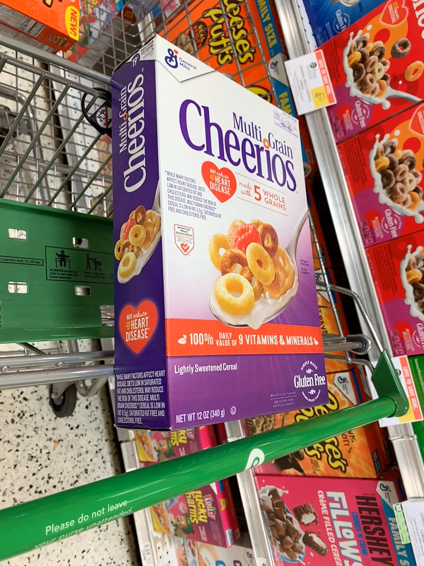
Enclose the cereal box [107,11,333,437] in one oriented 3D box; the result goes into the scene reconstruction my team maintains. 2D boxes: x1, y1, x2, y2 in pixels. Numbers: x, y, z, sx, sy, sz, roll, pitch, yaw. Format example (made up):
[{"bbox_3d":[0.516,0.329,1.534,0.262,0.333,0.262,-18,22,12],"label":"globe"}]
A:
[{"bbox_3d":[0.011,-0.042,0.409,0.201,0.069,0.321,8,73,-45],"label":"cereal box"}]
